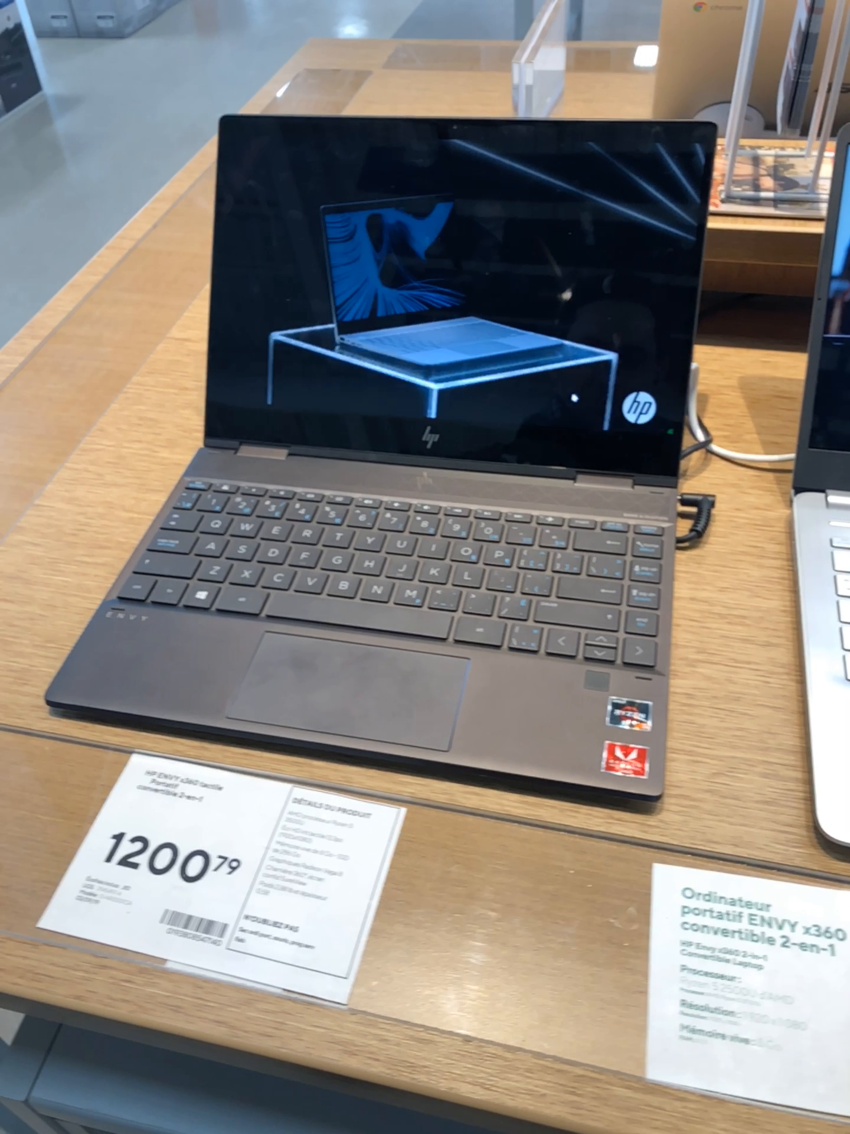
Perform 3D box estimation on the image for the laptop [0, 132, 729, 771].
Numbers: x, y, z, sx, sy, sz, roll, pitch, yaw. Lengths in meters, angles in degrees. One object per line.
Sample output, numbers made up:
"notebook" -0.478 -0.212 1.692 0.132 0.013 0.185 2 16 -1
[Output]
"laptop" -0.003 -0.090 0.504 0.293 0.162 0.319 6 45 12
